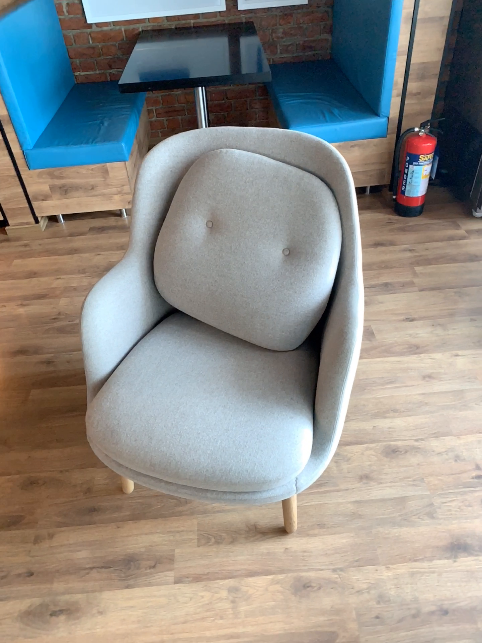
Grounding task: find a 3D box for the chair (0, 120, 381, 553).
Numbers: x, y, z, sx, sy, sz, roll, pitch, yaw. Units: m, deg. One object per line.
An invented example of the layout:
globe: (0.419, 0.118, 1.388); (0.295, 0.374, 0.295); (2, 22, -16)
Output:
chair: (-0.058, 0.007, 1.340); (0.750, 0.833, 0.746); (5, 41, 11)
